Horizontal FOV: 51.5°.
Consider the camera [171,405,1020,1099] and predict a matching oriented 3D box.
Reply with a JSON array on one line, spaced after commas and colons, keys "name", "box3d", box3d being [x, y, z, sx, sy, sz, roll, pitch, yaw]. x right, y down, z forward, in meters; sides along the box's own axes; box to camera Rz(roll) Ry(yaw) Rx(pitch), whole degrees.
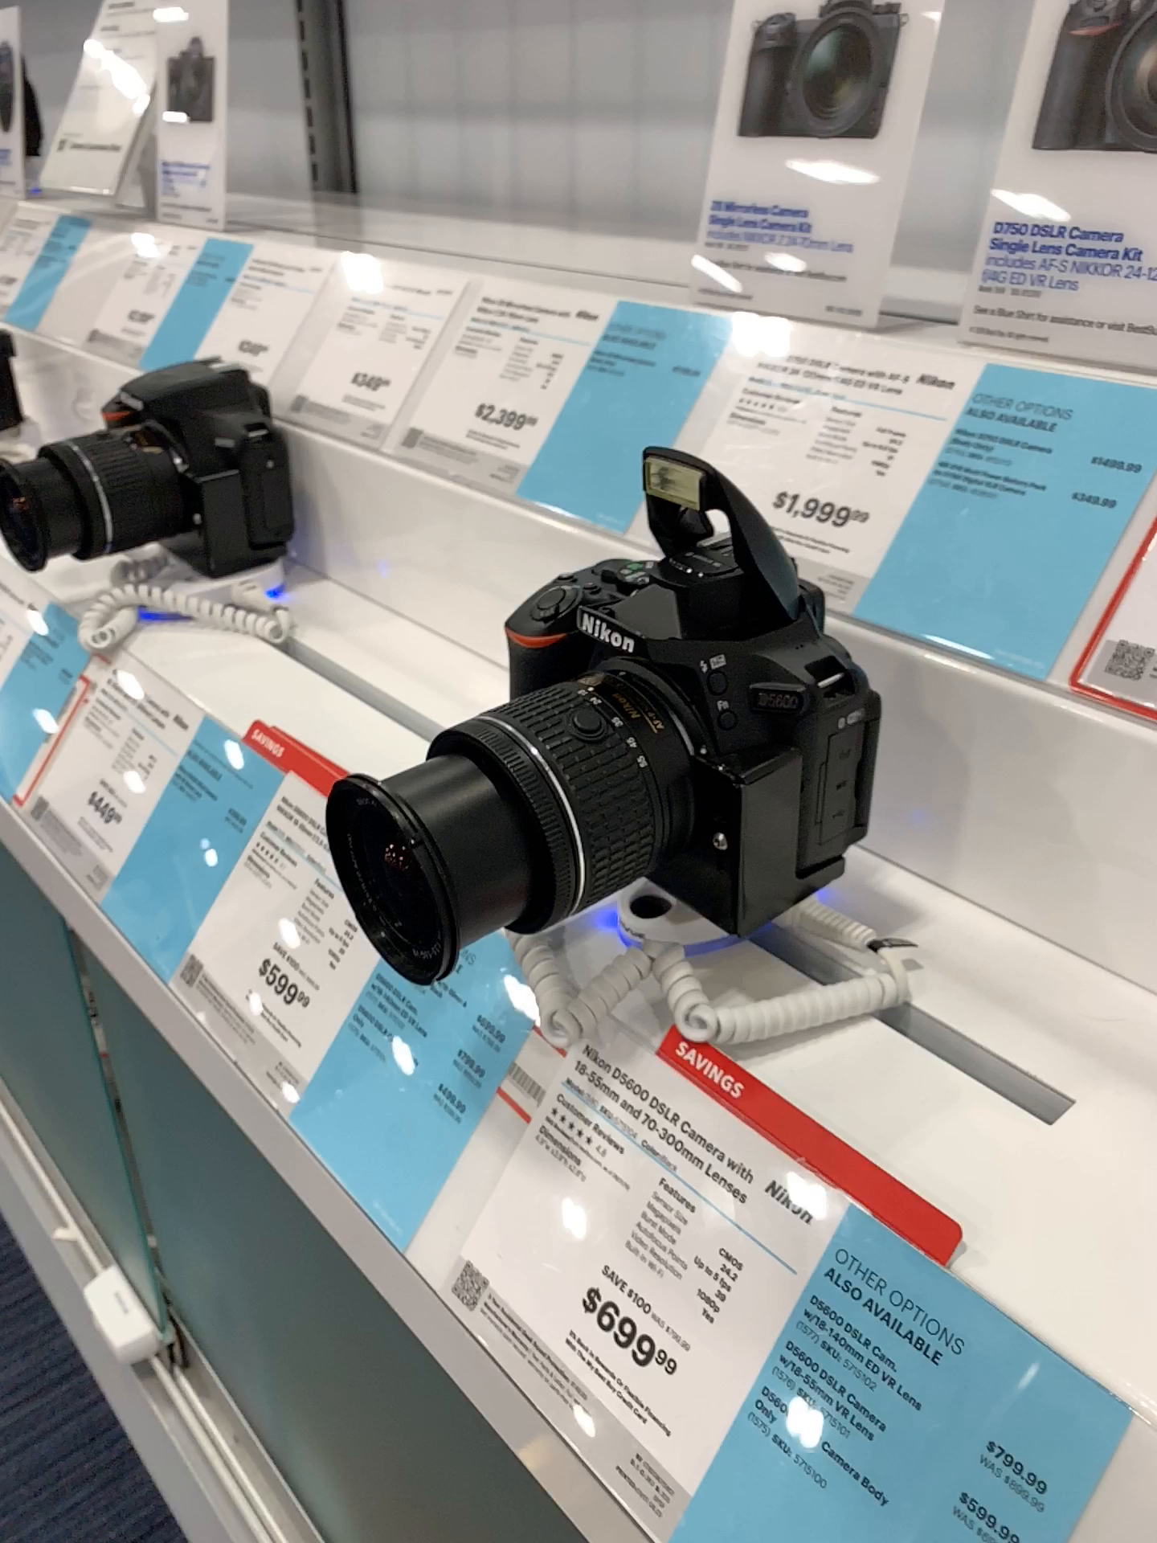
[{"name": "camera", "box3d": [0.010, -0.028, 0.355, 0.190, 0.109, 0.140, -25, 37, -38]}]
